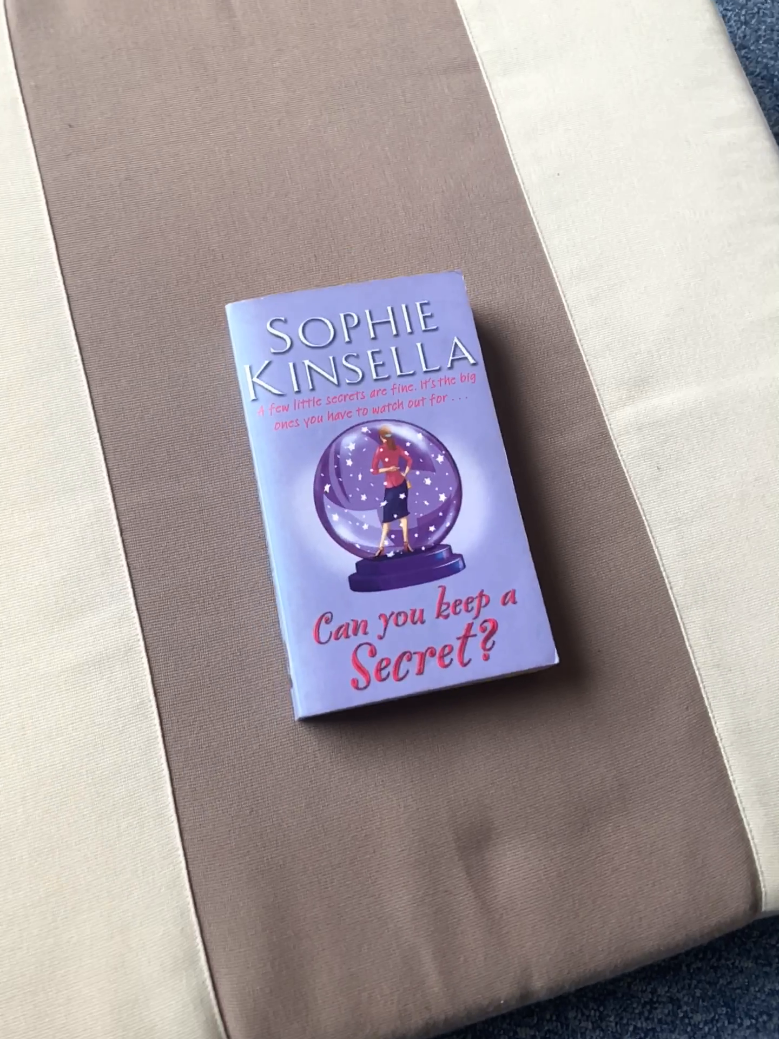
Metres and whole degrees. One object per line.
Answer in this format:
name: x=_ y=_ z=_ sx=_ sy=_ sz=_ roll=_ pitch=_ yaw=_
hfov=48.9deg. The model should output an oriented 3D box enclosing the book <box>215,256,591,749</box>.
book: x=0.000 y=-0.010 z=0.347 sx=0.110 sy=0.040 sz=0.180 roll=-10 pitch=76 yaw=-10
